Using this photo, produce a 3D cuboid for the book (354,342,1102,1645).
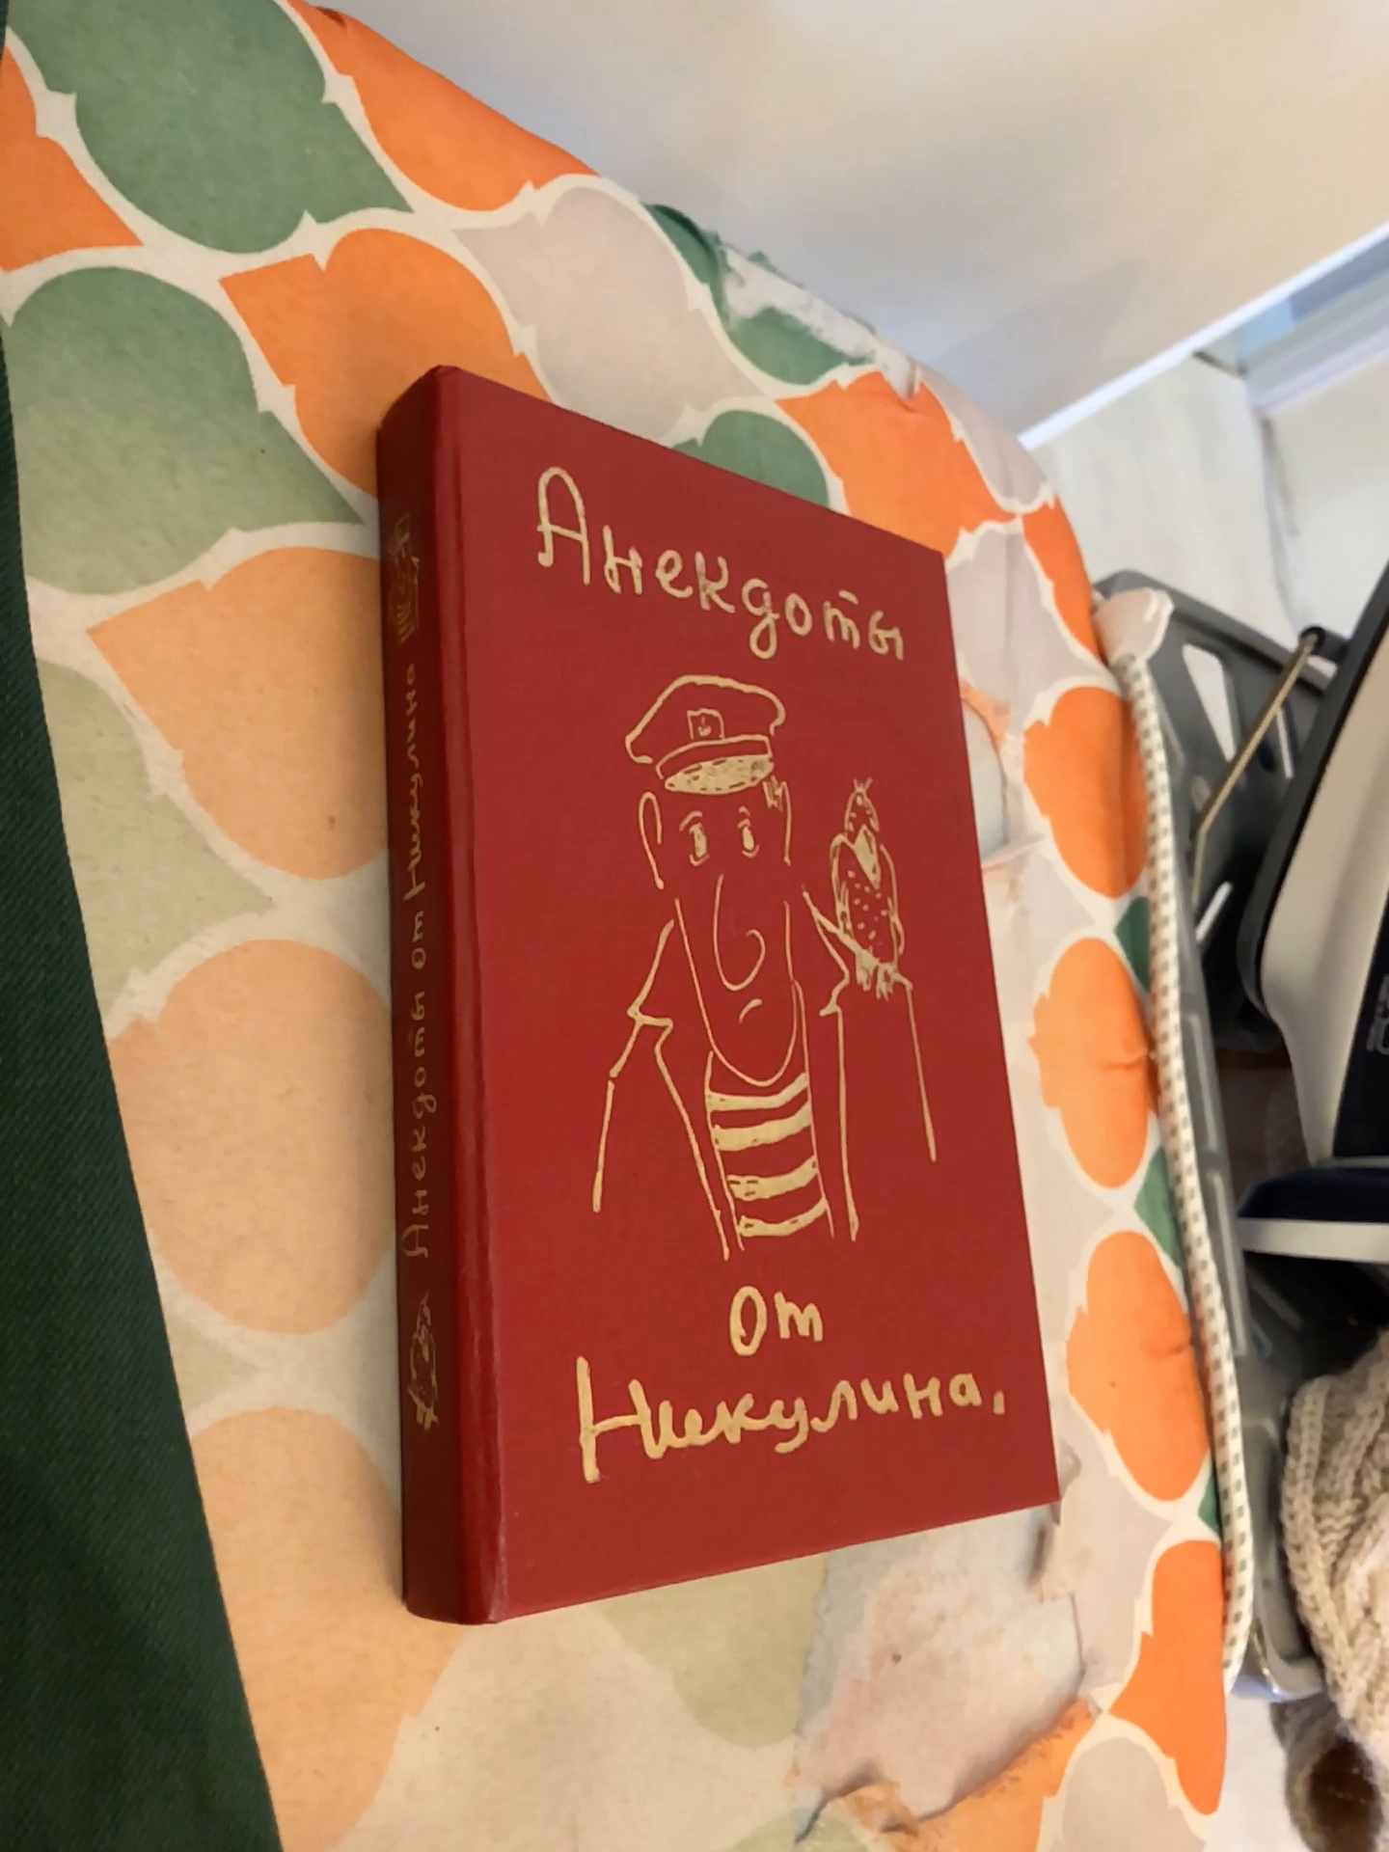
[{"bbox_3d":[0.008,0.010,0.295,0.141,0.030,0.207,7,72,-39],"label":"book"}]
